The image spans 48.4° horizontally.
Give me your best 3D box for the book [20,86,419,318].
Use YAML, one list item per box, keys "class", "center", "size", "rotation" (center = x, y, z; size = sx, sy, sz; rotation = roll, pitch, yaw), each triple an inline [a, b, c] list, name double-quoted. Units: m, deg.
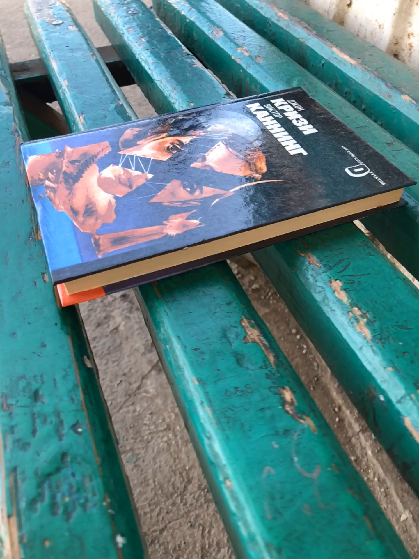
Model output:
- class: "book"
  center: [0.002, -0.063, 0.287]
  size: [0.211, 0.020, 0.135]
  rotation: [-16, 49, -14]
